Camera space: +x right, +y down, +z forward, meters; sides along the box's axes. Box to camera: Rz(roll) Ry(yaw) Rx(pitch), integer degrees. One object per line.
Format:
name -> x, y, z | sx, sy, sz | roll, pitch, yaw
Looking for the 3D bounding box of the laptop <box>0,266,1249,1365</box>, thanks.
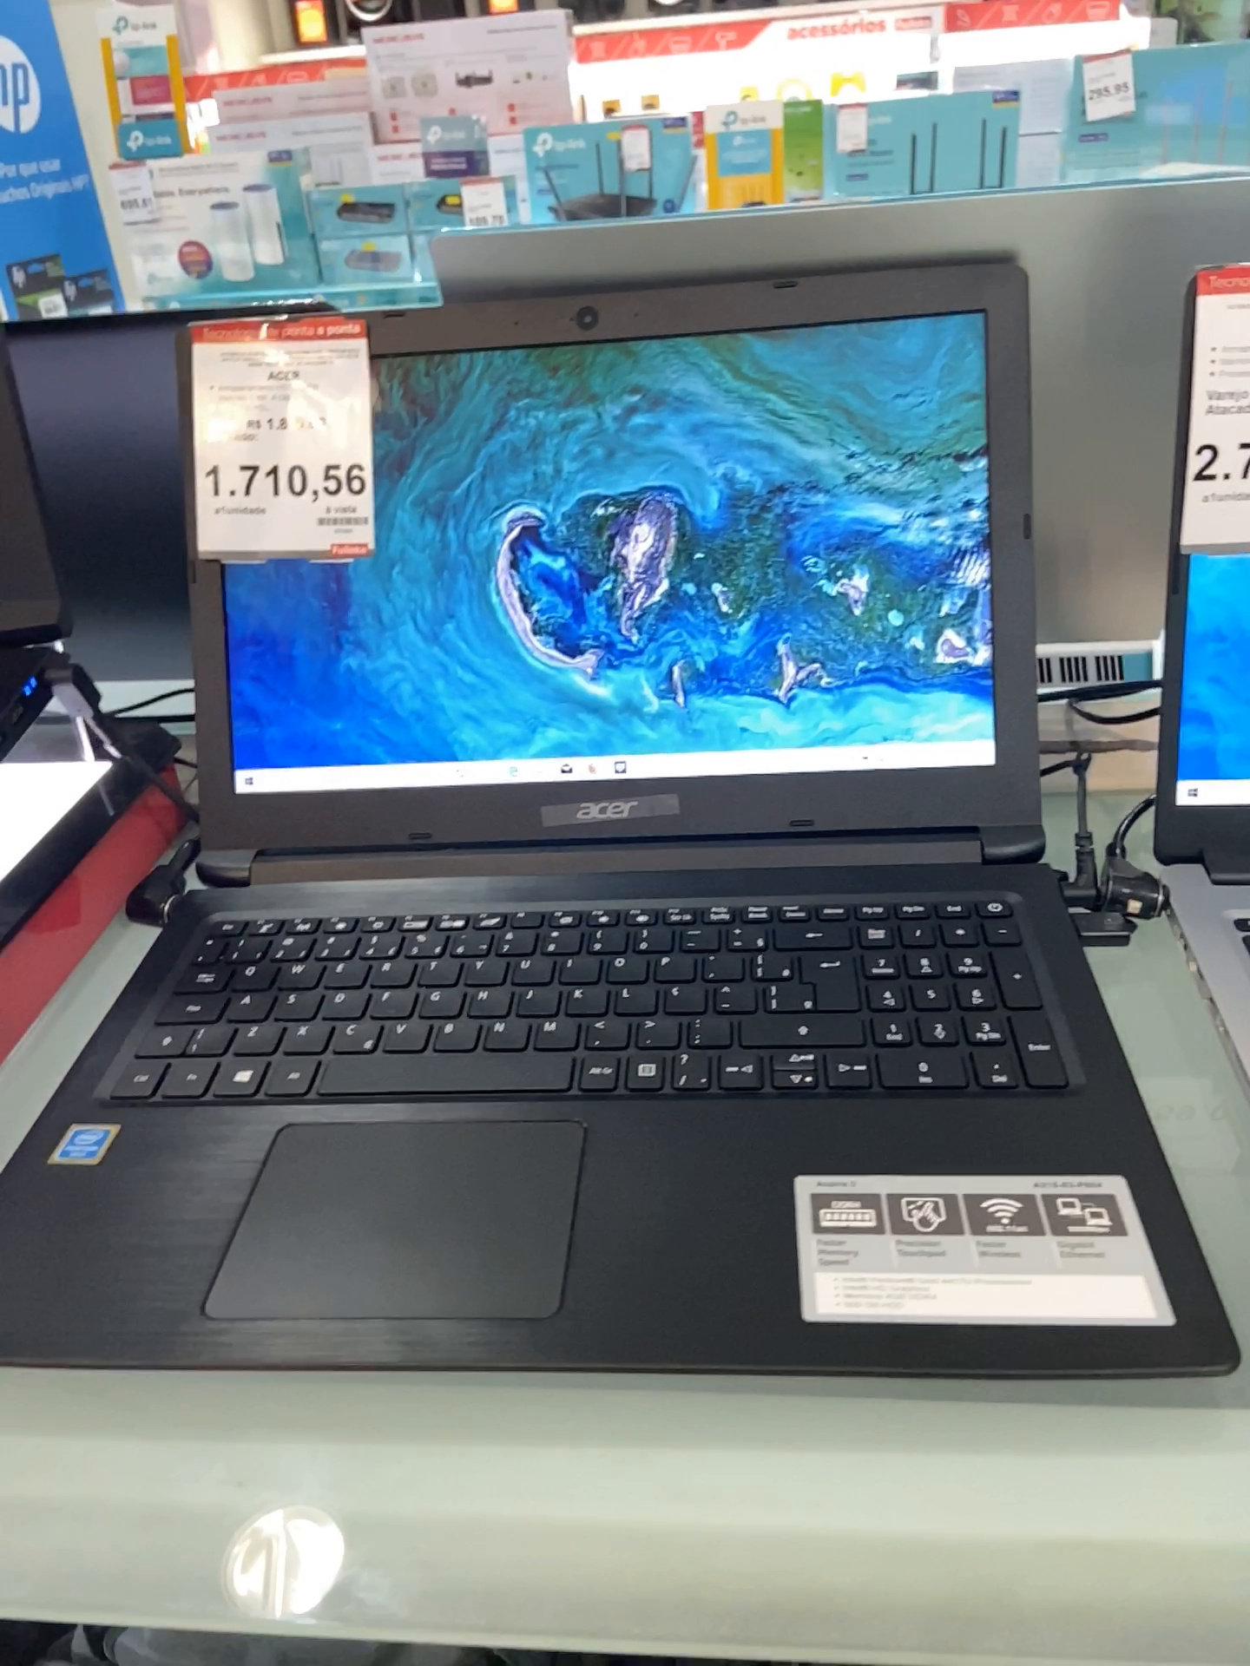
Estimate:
laptop -> -0.024, -0.048, 0.464 | 0.376, 0.216, 0.382 | -2, 30, 6
